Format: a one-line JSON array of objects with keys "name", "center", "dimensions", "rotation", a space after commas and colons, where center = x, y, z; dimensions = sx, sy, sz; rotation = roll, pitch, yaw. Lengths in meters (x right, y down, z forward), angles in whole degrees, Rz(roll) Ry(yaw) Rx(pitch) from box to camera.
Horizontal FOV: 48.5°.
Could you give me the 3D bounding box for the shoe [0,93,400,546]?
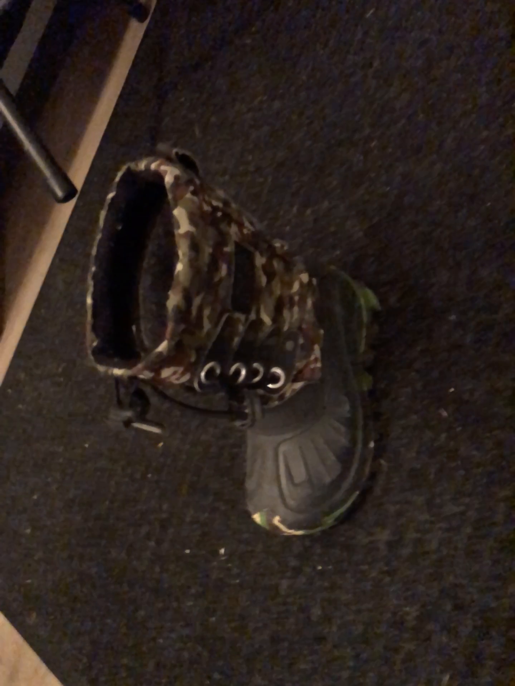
[{"name": "shoe", "center": [-0.014, 0.007, 0.362], "dimensions": [0.100, 0.209, 0.200], "rotation": [-3, 69, 41]}]
